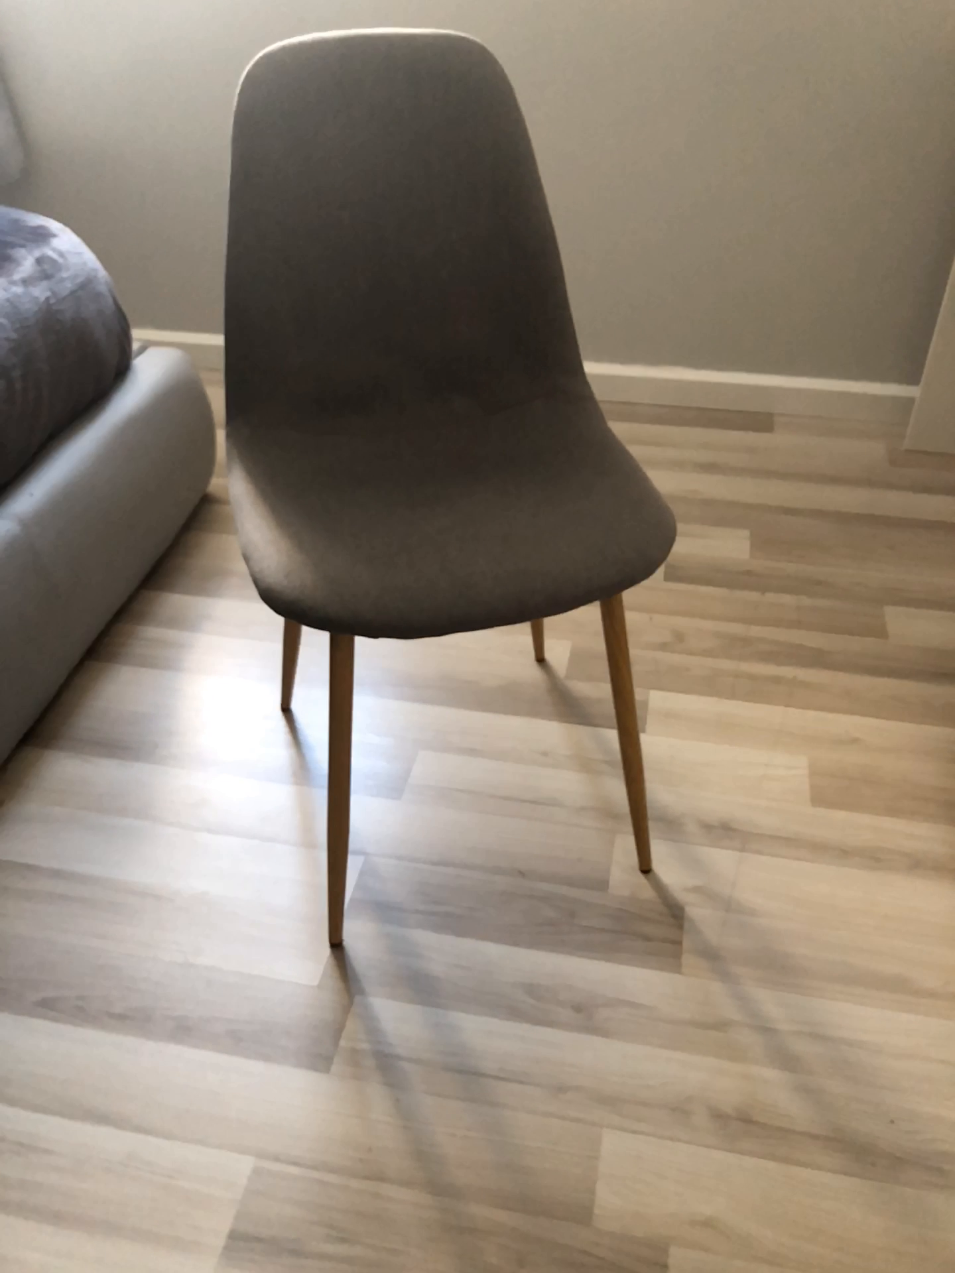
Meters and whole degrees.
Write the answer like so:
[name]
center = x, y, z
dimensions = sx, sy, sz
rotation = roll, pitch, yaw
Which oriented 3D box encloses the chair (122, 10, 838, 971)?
[chair]
center = -0.052, -0.169, 1.123
dimensions = 0.471, 0.785, 0.573
rotation = -10, 39, -12
